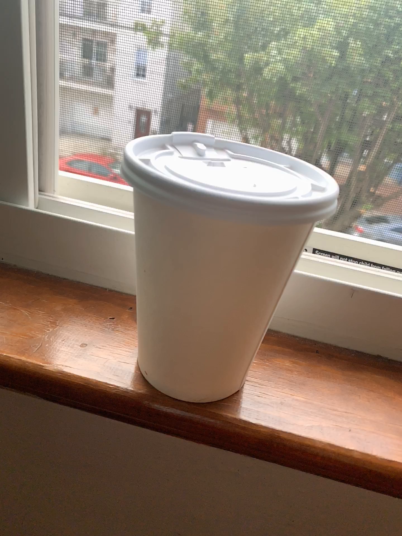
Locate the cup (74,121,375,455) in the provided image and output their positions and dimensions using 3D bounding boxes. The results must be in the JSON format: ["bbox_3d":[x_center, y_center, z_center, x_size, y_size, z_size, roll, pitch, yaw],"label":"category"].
[{"bbox_3d":[0.008,-0.003,0.193,0.090,0.099,0.091,8,29,-4],"label":"cup"}]
